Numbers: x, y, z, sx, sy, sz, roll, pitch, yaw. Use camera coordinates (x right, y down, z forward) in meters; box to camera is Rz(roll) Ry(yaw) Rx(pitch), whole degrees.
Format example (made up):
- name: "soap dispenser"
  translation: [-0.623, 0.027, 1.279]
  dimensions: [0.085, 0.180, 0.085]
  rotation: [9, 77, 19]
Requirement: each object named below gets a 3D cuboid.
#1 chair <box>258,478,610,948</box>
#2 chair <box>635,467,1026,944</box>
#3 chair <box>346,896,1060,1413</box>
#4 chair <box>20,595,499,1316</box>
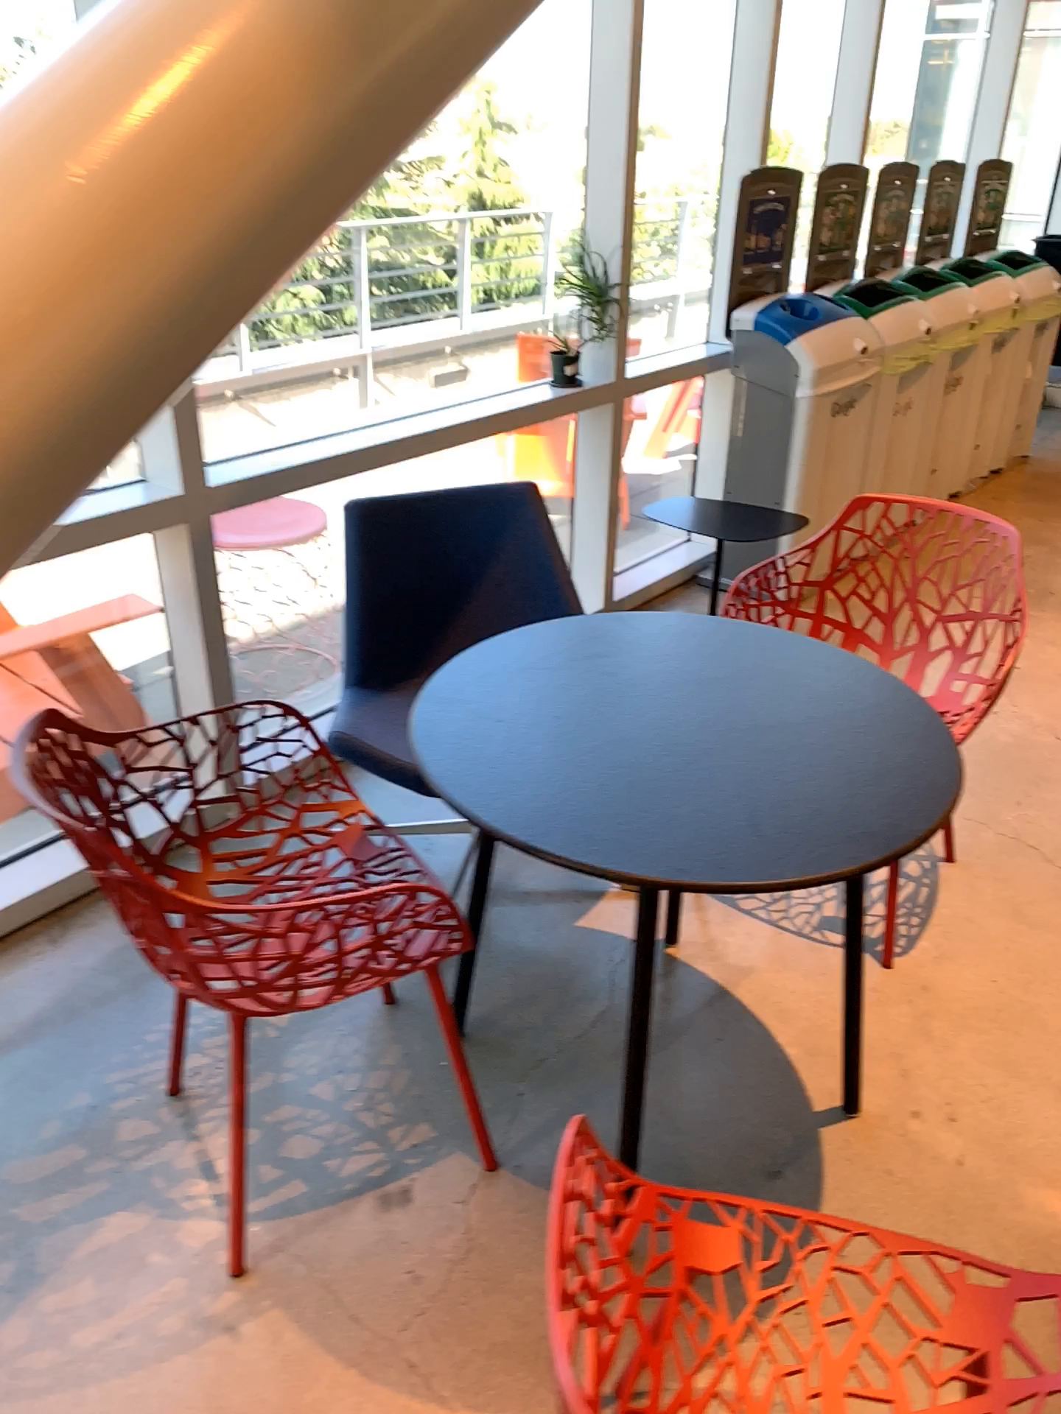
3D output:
- name: "chair"
  translation: [-0.214, -0.015, 2.302]
  dimensions: [0.560, 0.765, 0.513]
  rotation: [-10, 30, -20]
- name: "chair"
  translation: [0.636, -0.039, 2.378]
  dimensions: [0.552, 0.765, 0.562]
  rotation: [20, 33, 32]
- name: "chair"
  translation: [0.220, 0.691, 1.001]
  dimensions: [0.561, 0.765, 0.533]
  rotation: [8, 29, 13]
- name: "chair"
  translation: [-0.398, 0.326, 1.626]
  dimensions: [0.530, 0.765, 0.563]
  rotation: [-11, 30, -21]
